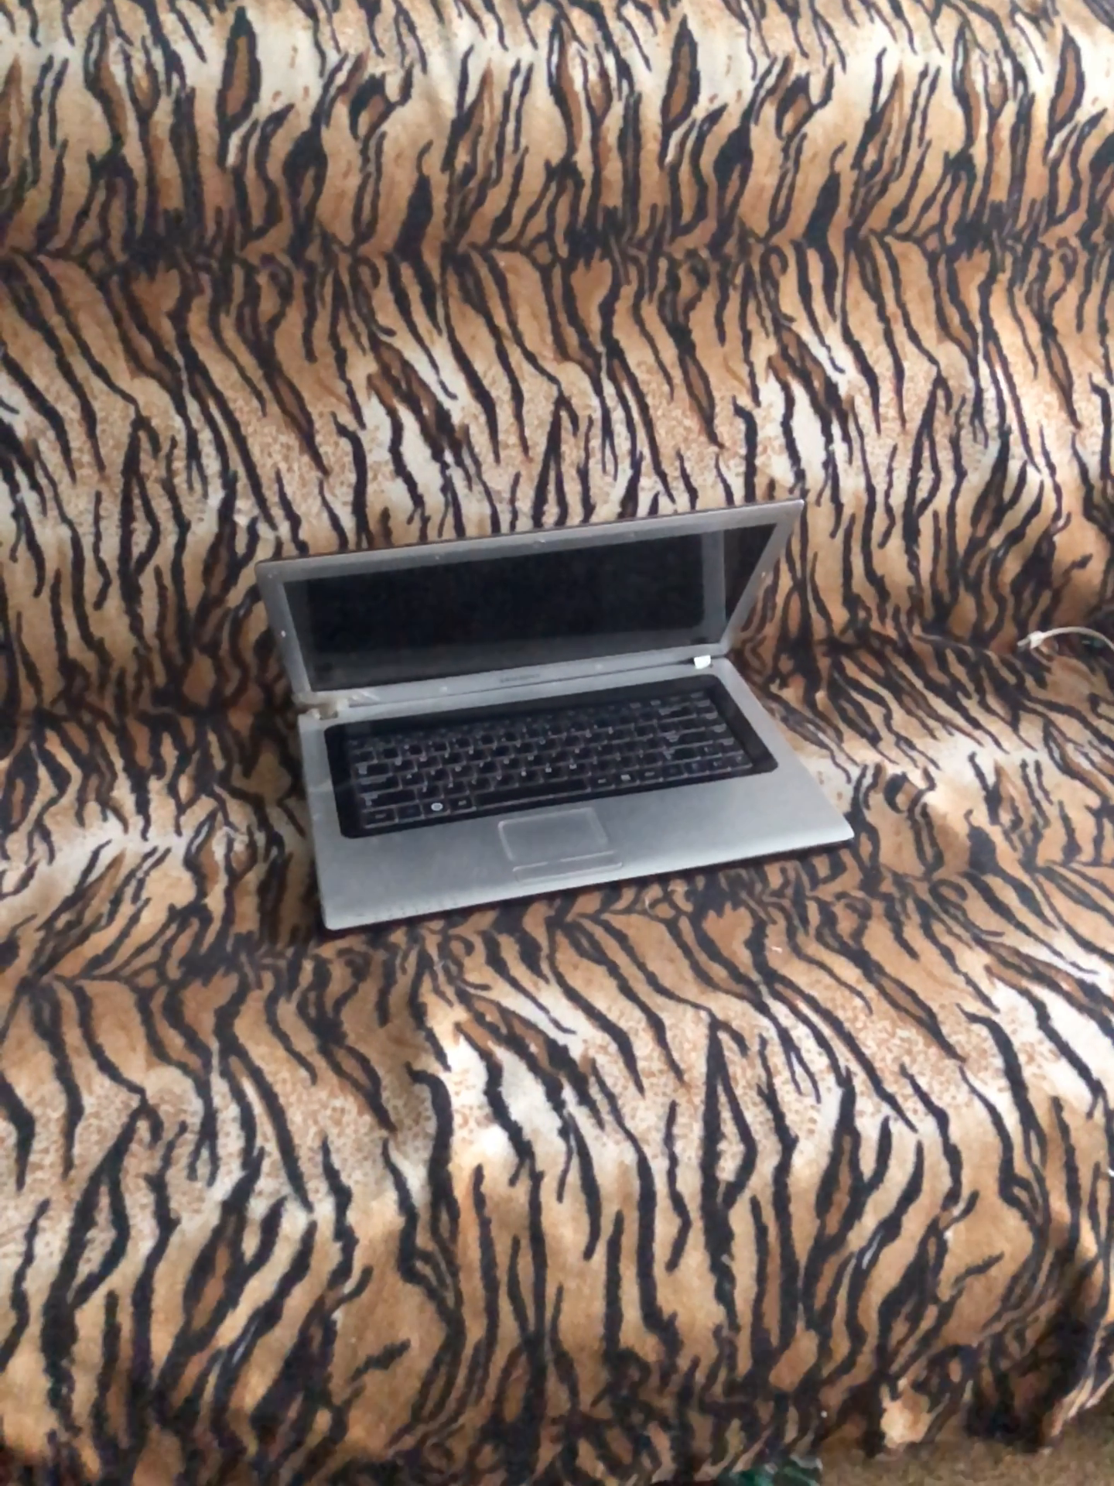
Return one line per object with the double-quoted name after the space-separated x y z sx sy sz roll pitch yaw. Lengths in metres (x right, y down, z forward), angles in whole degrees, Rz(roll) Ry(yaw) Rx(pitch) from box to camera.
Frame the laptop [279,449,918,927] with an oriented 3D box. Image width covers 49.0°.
0.007 -0.052 0.825 0.350 0.179 0.239 -8 37 -12 "laptop"
